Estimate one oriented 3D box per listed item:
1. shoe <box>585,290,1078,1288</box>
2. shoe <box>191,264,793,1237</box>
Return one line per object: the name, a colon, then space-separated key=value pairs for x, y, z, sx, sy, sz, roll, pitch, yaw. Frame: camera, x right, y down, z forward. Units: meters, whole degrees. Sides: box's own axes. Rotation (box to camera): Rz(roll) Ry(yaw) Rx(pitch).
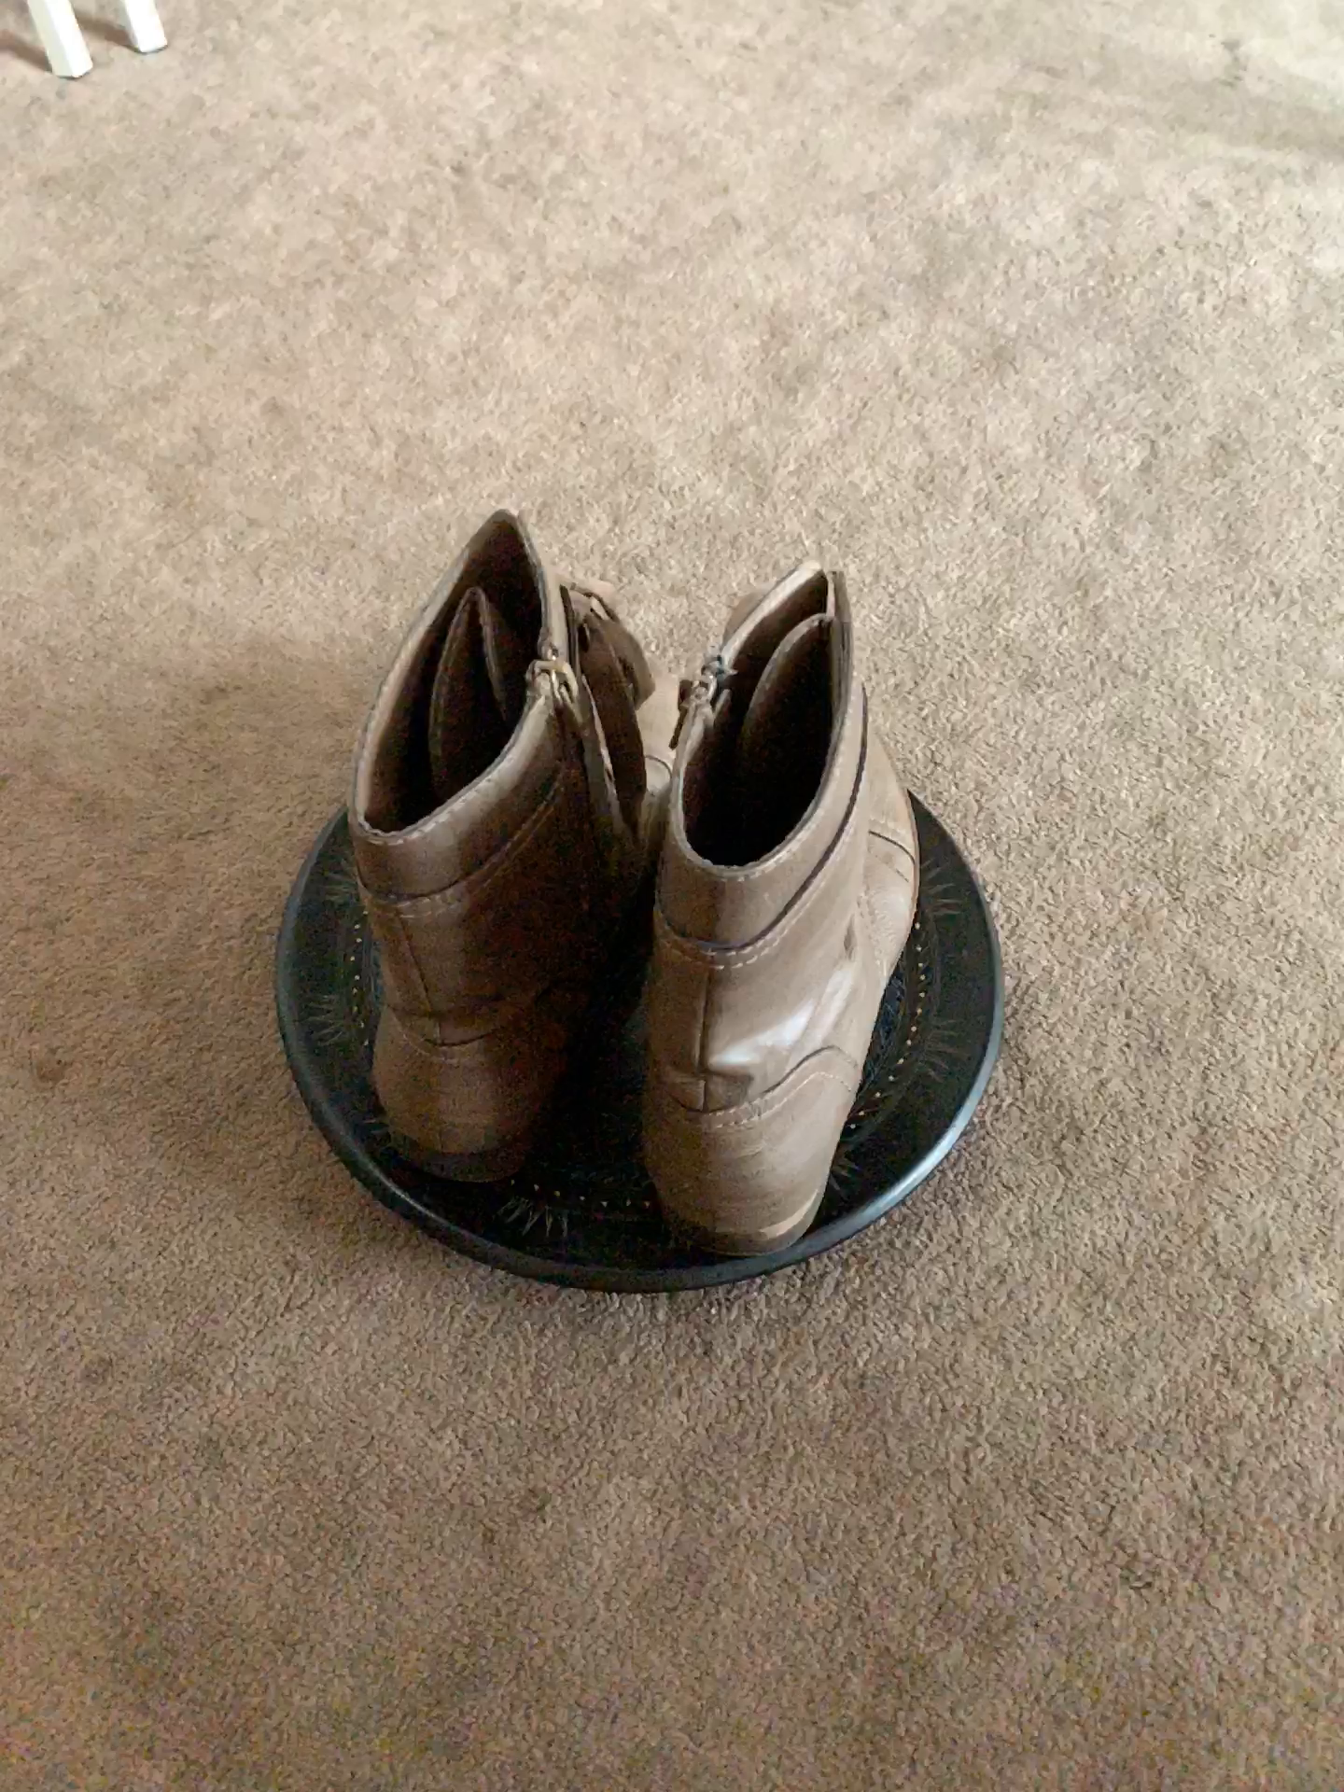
shoe: x=0.057 y=-0.040 z=0.482 sx=0.100 sy=0.198 sz=0.272 roll=12 pitch=53 yaw=7
shoe: x=-0.041 y=-0.055 z=0.494 sx=0.100 sy=0.198 sz=0.272 roll=12 pitch=53 yaw=7
